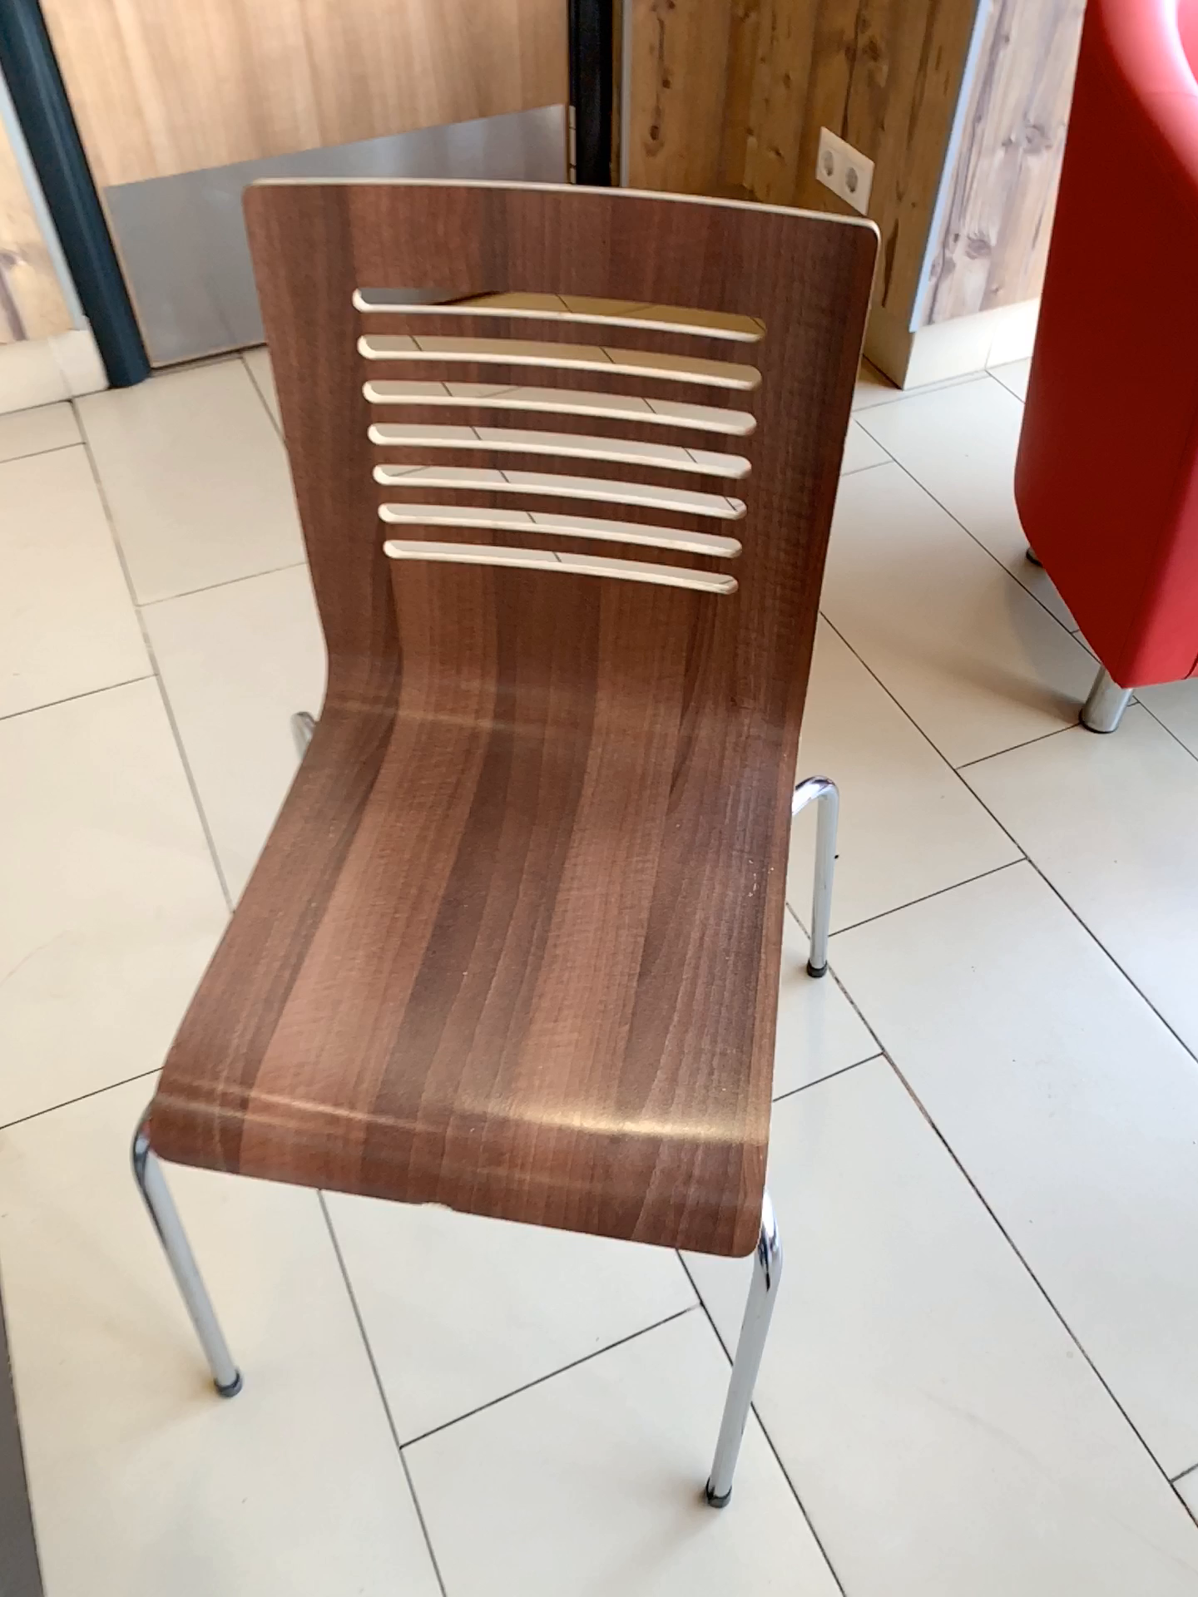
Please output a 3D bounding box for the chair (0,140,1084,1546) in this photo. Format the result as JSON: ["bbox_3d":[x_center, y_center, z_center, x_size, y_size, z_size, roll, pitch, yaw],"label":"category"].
[{"bbox_3d":[-0.063,0.080,0.900,0.544,0.794,0.594,9,50,7],"label":"chair"}]
